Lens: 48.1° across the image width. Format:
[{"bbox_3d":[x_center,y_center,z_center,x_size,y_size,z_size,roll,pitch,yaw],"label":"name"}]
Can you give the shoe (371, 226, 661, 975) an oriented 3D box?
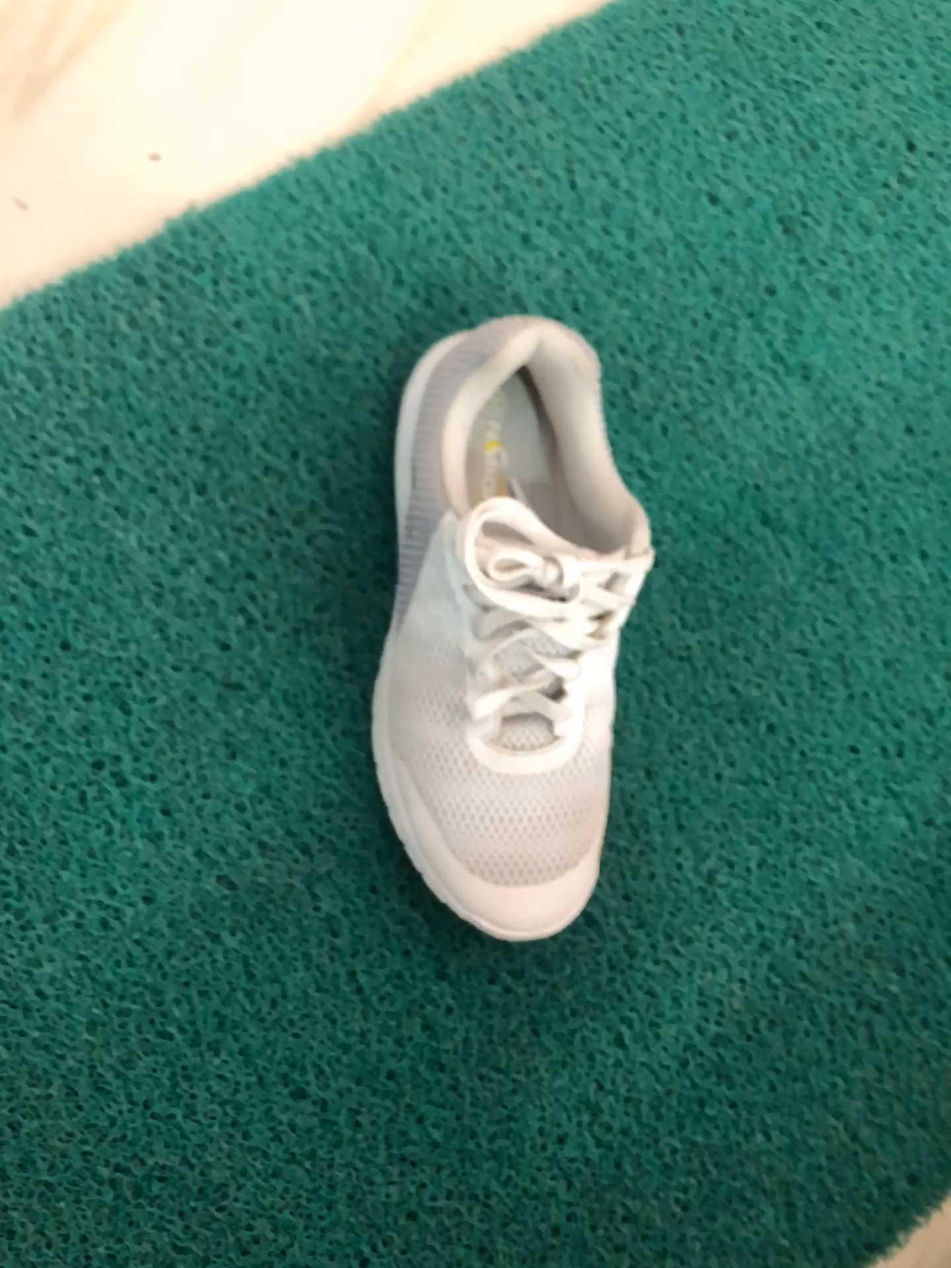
[{"bbox_3d":[0.013,-0.012,0.469,0.100,0.100,0.290,2,84,-14],"label":"shoe"}]
